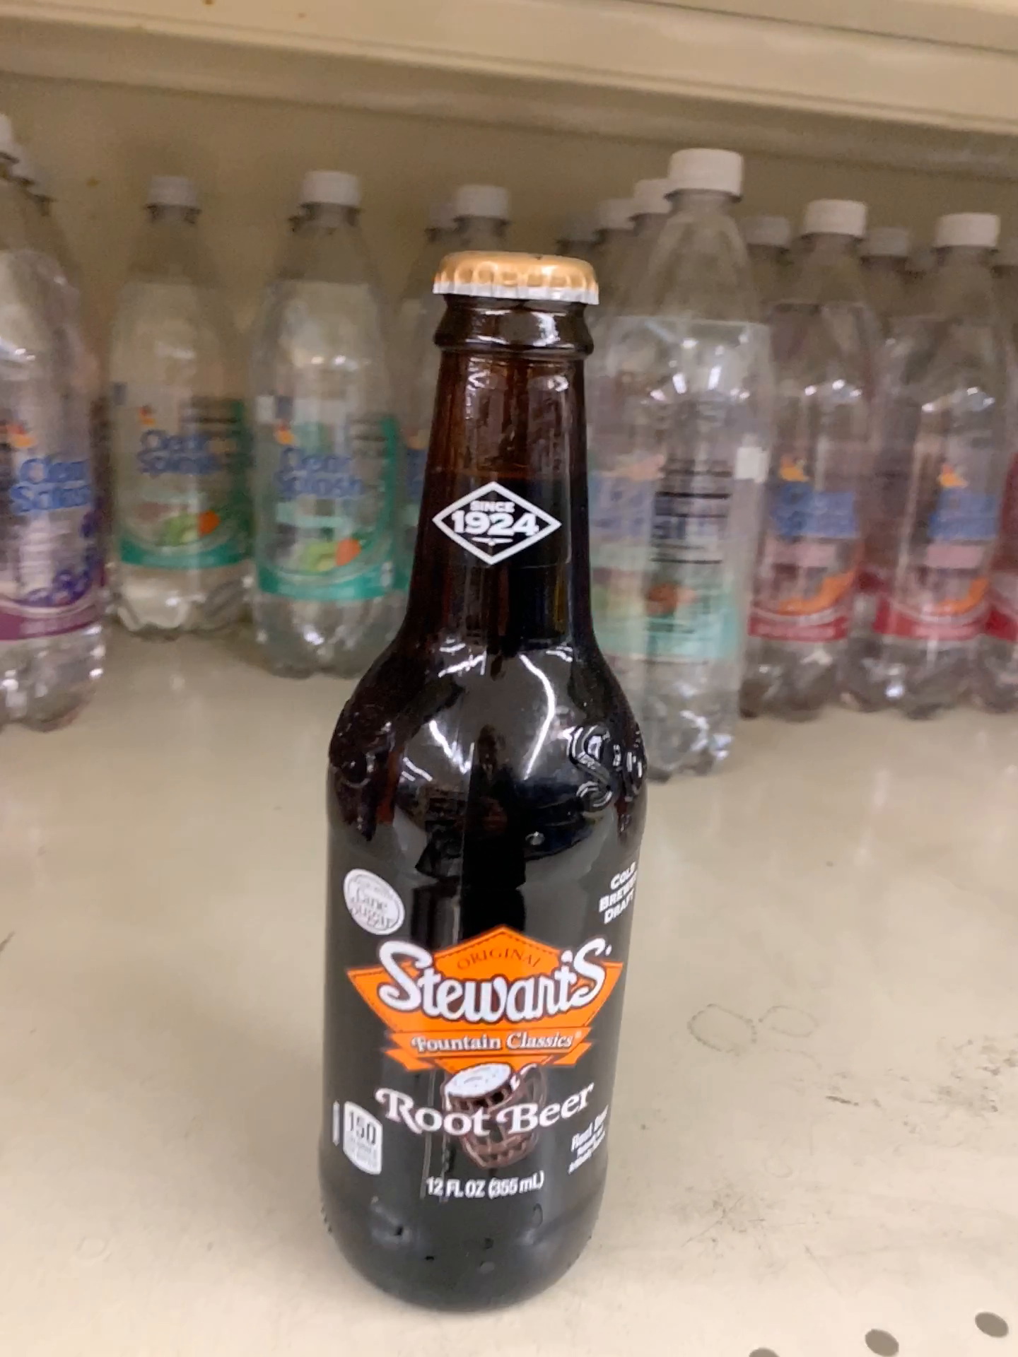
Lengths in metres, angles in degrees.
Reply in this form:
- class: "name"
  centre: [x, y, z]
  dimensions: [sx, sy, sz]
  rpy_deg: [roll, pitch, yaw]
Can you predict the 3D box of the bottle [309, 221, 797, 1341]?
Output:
- class: "bottle"
  centre: [-0.001, 0.026, 0.211]
  dimensions: [0.070, 0.207, 0.060]
  rpy_deg: [2, 18, -4]
